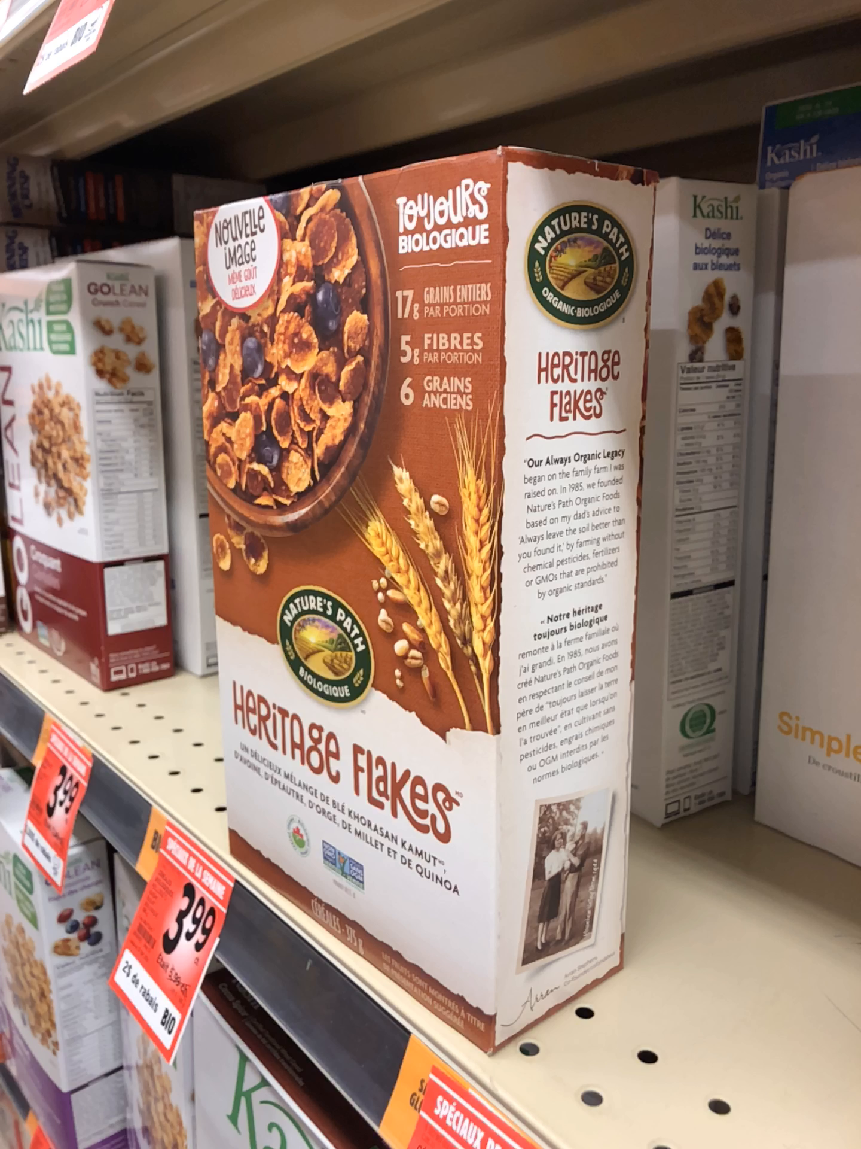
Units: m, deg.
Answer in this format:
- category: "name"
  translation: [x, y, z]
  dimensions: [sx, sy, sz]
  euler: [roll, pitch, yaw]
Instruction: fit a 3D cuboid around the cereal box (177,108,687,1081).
- category: "cereal box"
  translation: [-0.008, -0.001, 0.333]
  dimensions: [0.070, 0.259, 0.170]
  euler: [-12, 17, -38]
